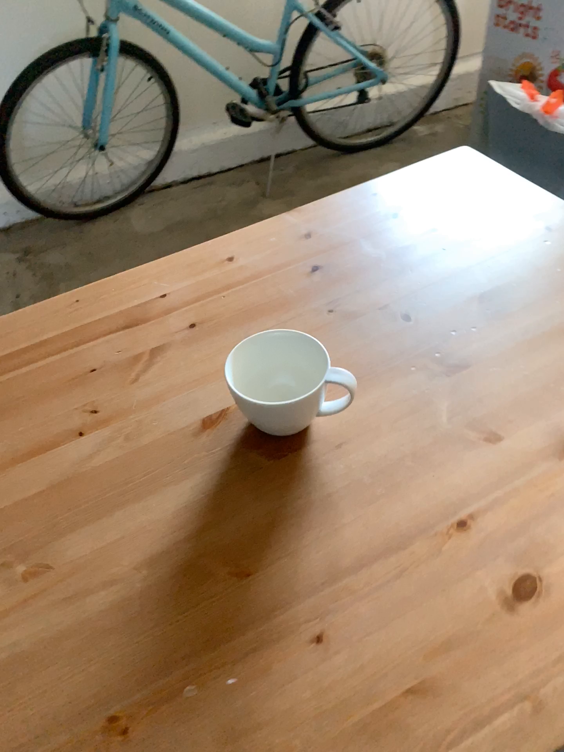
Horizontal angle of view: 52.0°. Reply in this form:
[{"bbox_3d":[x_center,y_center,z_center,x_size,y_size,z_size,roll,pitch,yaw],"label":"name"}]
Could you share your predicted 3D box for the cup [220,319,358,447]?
[{"bbox_3d":[0.014,0.008,0.614,0.130,0.100,0.090,0,47,8],"label":"cup"}]
